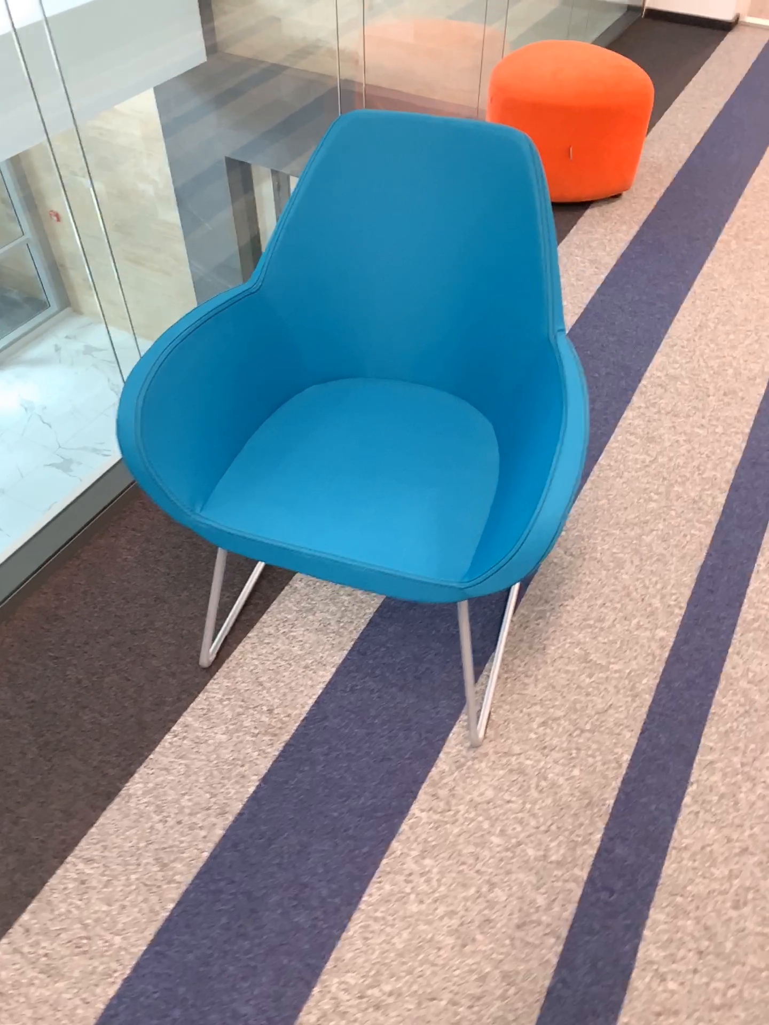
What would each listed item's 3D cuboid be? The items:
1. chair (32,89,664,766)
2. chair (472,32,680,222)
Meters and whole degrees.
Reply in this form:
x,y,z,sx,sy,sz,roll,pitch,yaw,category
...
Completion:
x,y,z,sx,sy,sz,roll,pitch,yaw,category
0.006,-0.137,1.371,0.671,0.836,0.653,14,49,13,chair
0.752,-1.532,3.081,0.640,0.396,0.653,14,49,13,chair
